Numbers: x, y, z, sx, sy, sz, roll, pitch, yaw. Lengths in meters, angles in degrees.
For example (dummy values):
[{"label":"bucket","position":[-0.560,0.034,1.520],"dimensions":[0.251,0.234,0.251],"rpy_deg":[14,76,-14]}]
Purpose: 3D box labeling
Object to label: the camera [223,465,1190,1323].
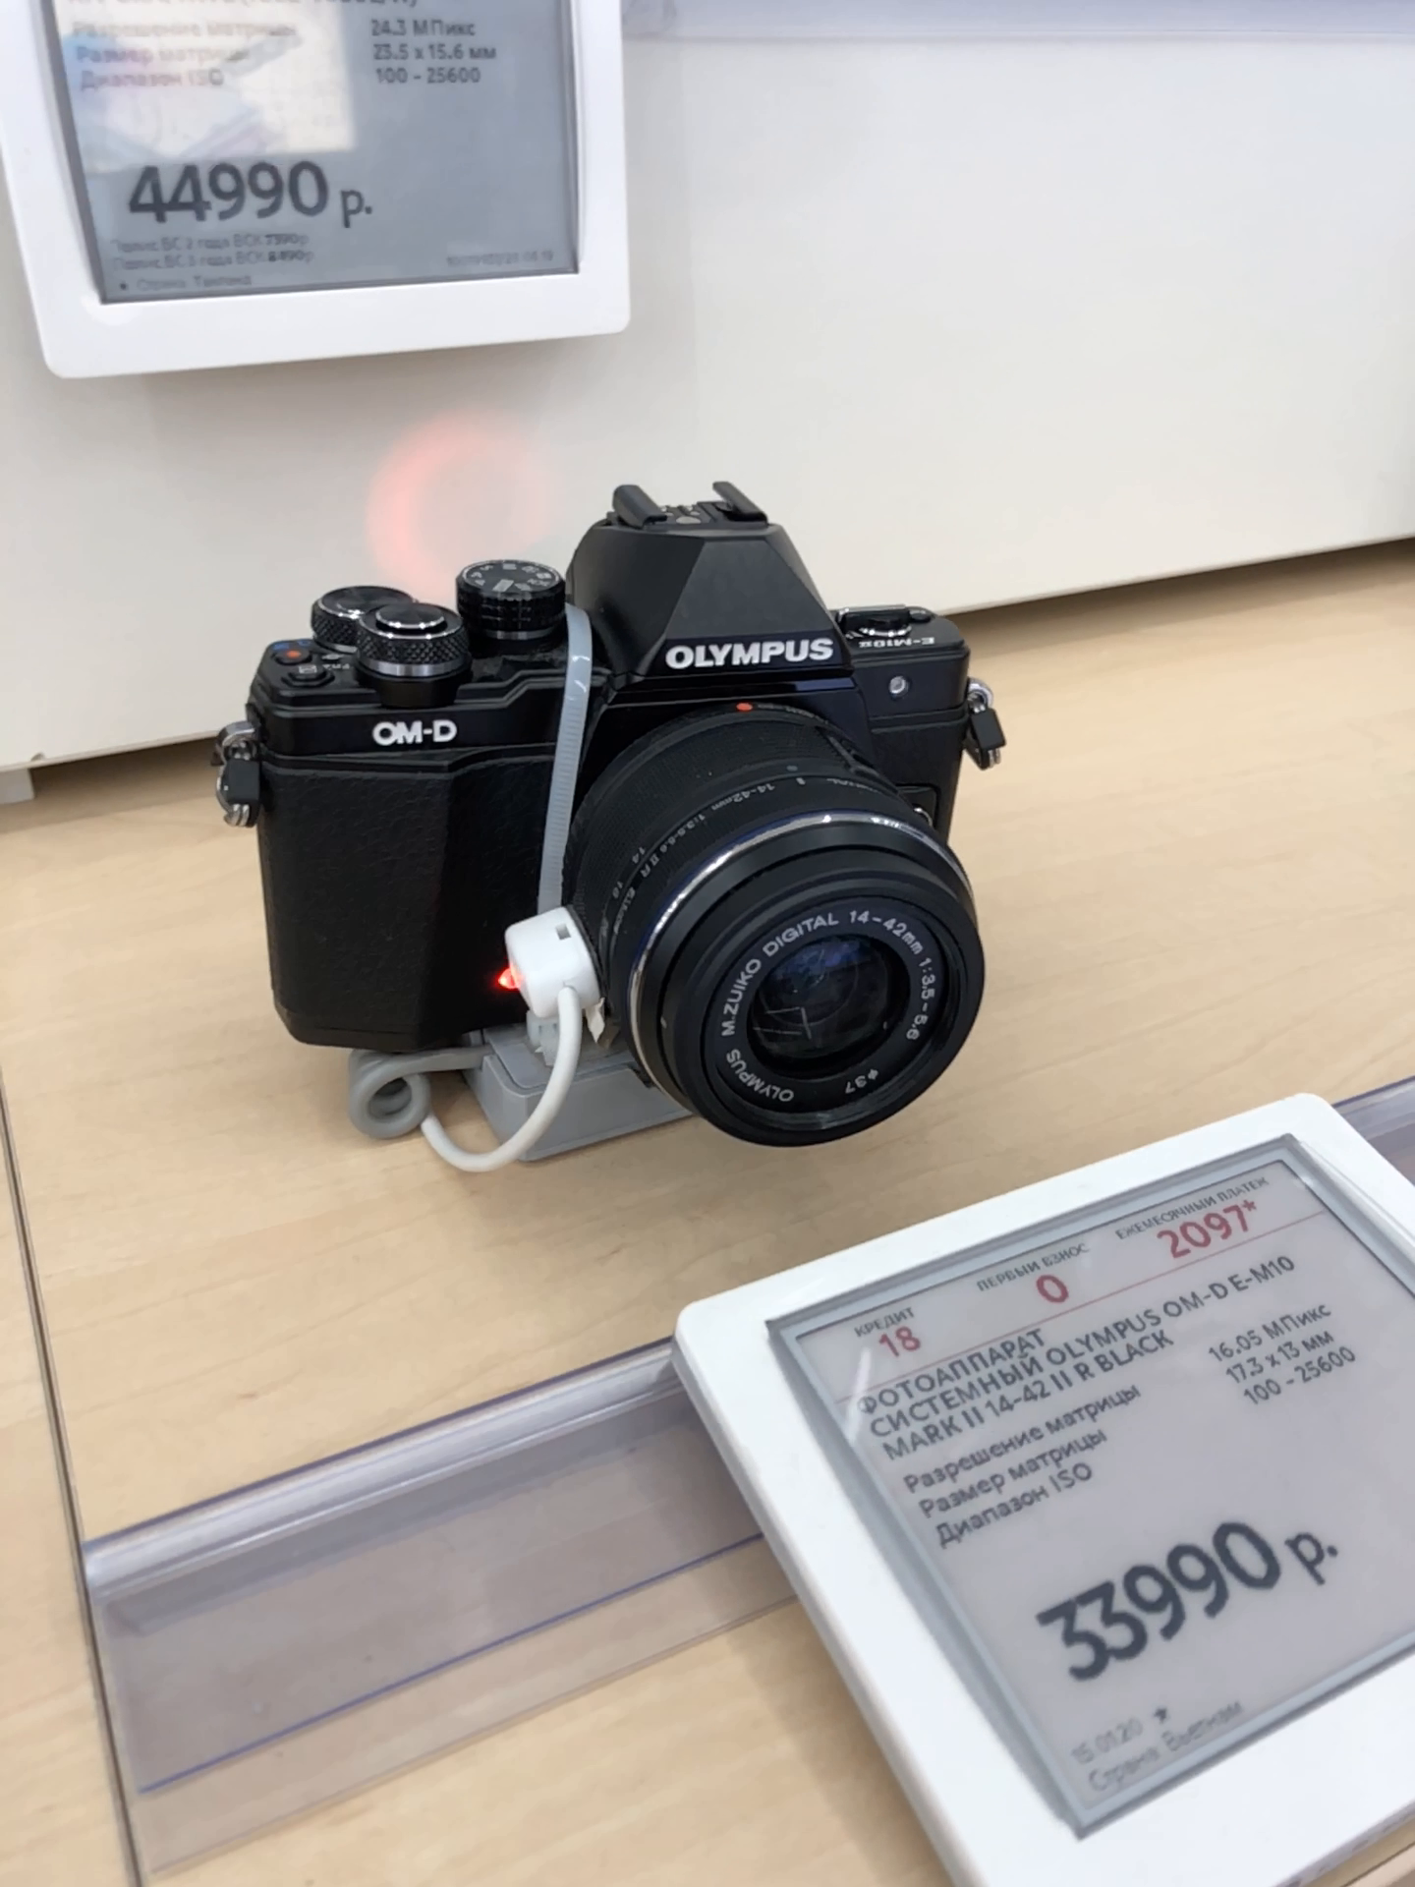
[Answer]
[{"label":"camera","position":[-0.008,-0.018,0.247],"dimensions":[0.112,0.079,0.101],"rpy_deg":[-10,34,-18]}]
